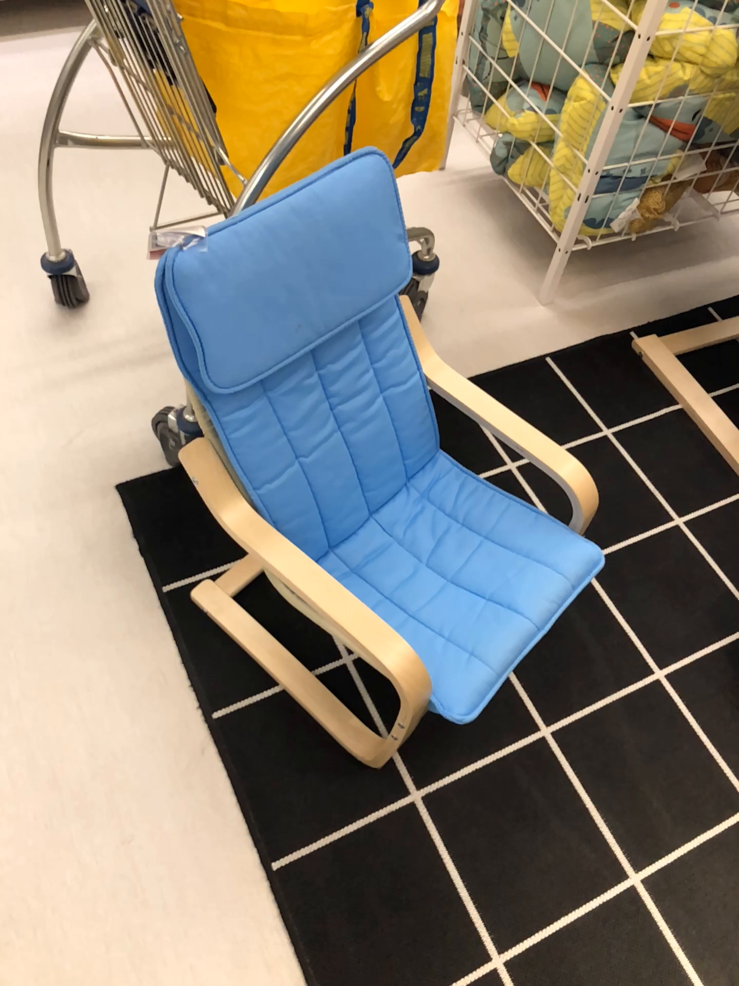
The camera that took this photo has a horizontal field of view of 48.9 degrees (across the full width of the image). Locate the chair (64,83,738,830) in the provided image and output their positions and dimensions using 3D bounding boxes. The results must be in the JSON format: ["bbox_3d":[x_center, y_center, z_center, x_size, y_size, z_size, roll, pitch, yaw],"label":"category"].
[{"bbox_3d":[-0.007,0.004,1.231,0.561,0.875,0.492,40,58,20],"label":"chair"}]
